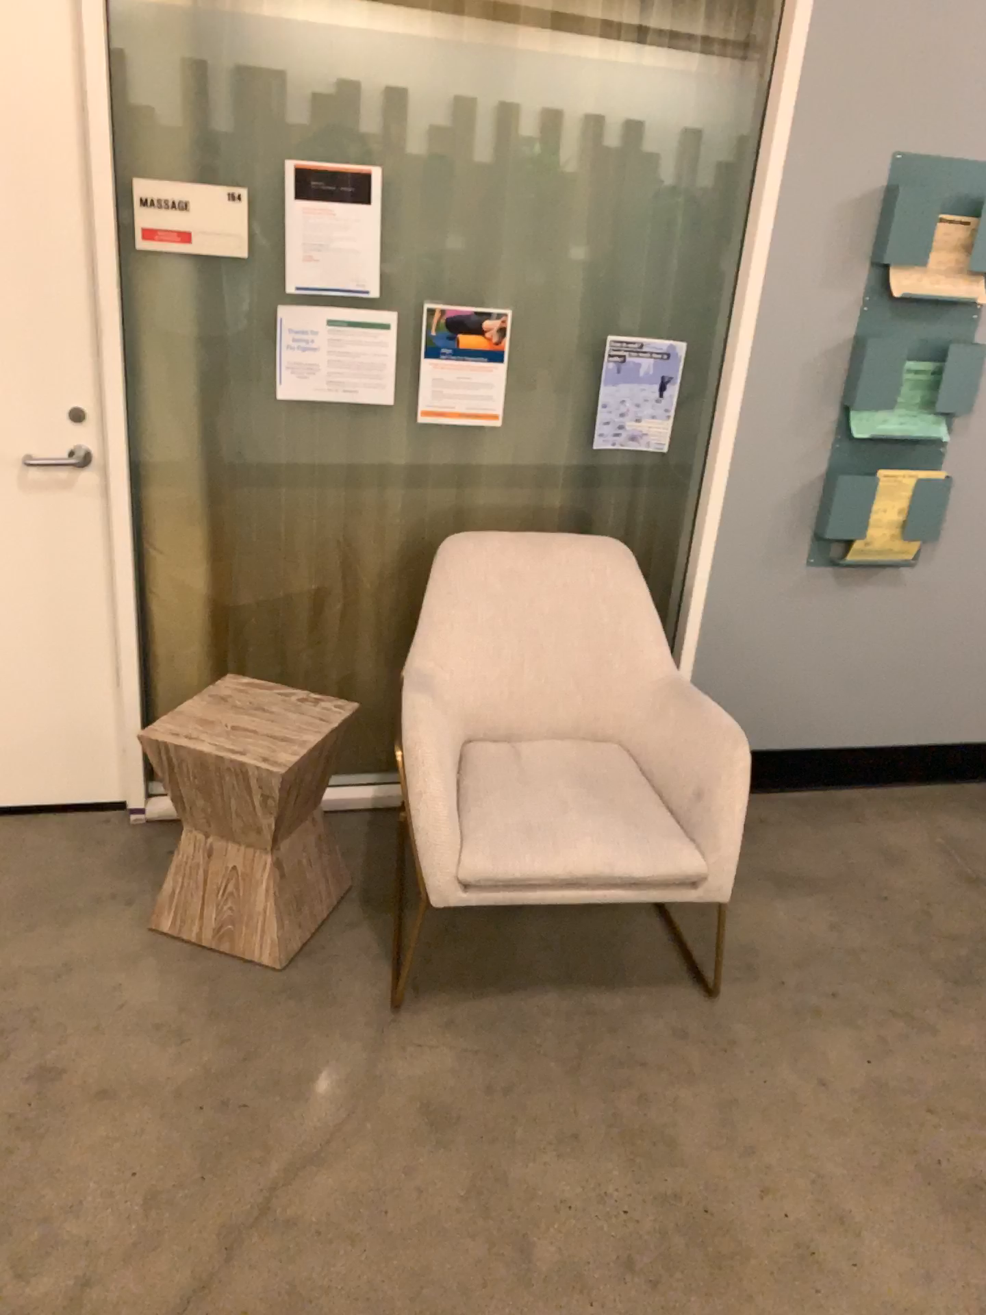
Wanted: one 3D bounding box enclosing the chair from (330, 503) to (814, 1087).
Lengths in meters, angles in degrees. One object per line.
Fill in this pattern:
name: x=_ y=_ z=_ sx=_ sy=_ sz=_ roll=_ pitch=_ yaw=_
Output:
chair: x=0.061 y=0.238 z=2.273 sx=0.780 sy=0.925 sz=0.875 roll=0 pitch=24 yaw=-12
